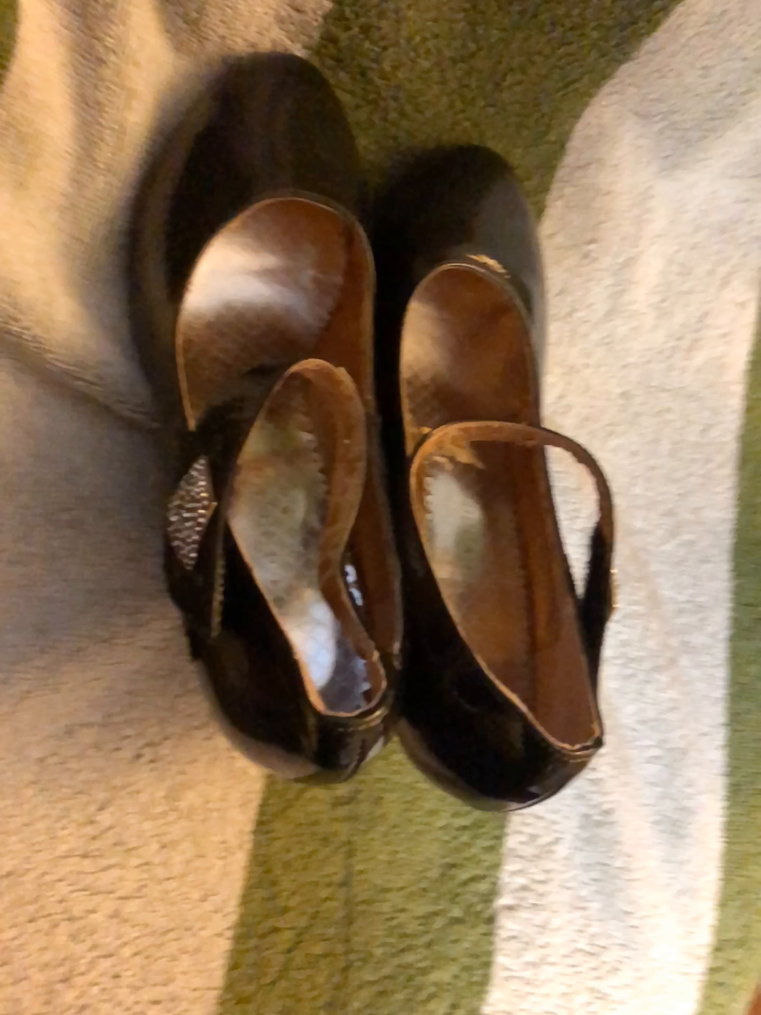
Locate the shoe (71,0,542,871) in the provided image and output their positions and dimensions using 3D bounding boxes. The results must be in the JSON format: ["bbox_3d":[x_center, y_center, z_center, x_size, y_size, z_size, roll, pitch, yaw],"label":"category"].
[{"bbox_3d":[-0.032,-0.044,0.247,0.090,0.120,0.240,4,90,-23],"label":"shoe"}]

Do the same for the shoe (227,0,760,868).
[{"bbox_3d":[0.034,-0.032,0.270,0.090,0.120,0.240,14,86,-22],"label":"shoe"}]
